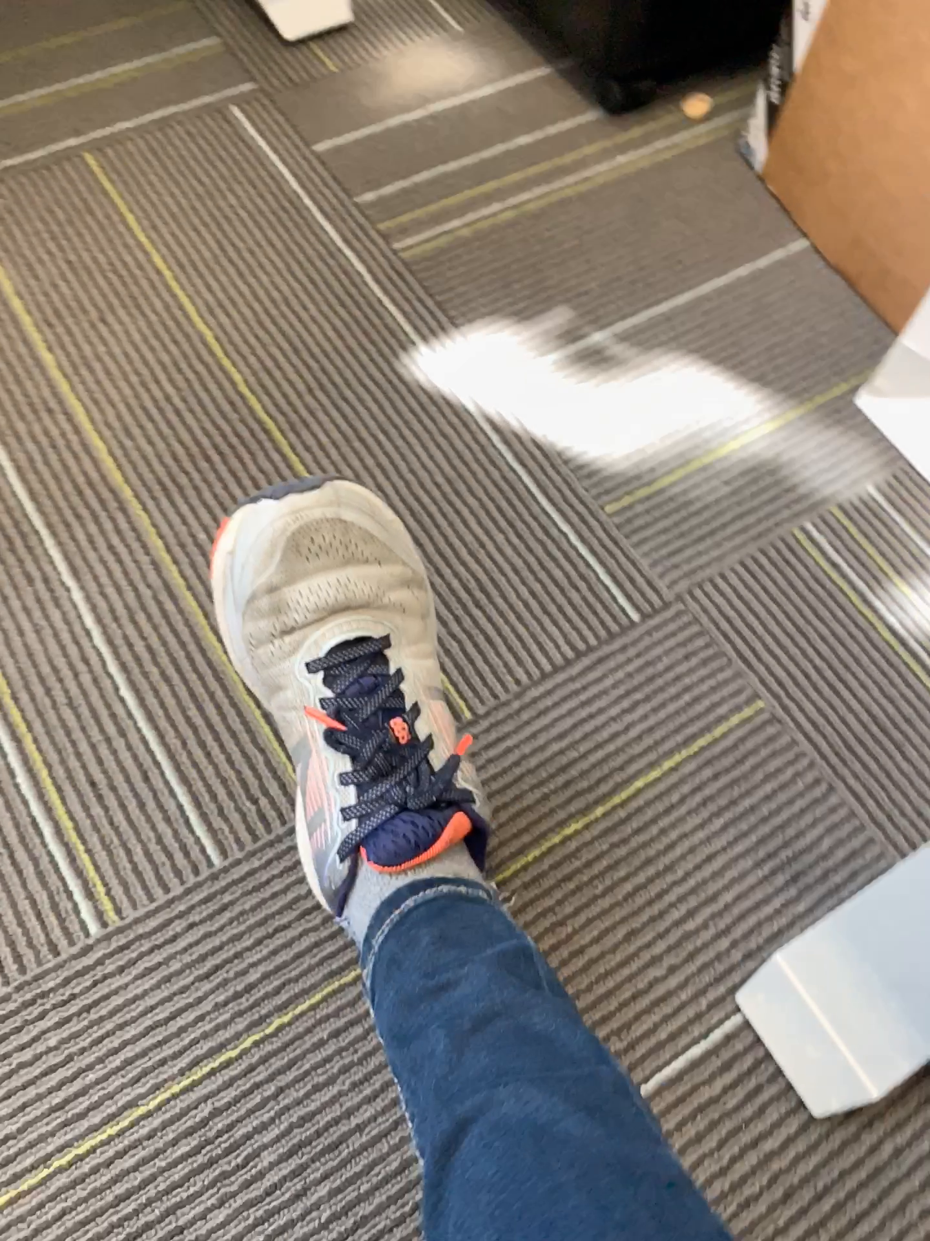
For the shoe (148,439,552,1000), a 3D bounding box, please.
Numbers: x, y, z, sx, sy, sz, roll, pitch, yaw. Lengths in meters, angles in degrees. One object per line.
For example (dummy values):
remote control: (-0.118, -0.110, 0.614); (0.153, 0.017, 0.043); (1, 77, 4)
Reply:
shoe: (-0.059, 0.039, 0.480); (0.120, 0.110, 0.230); (-19, 104, -13)
